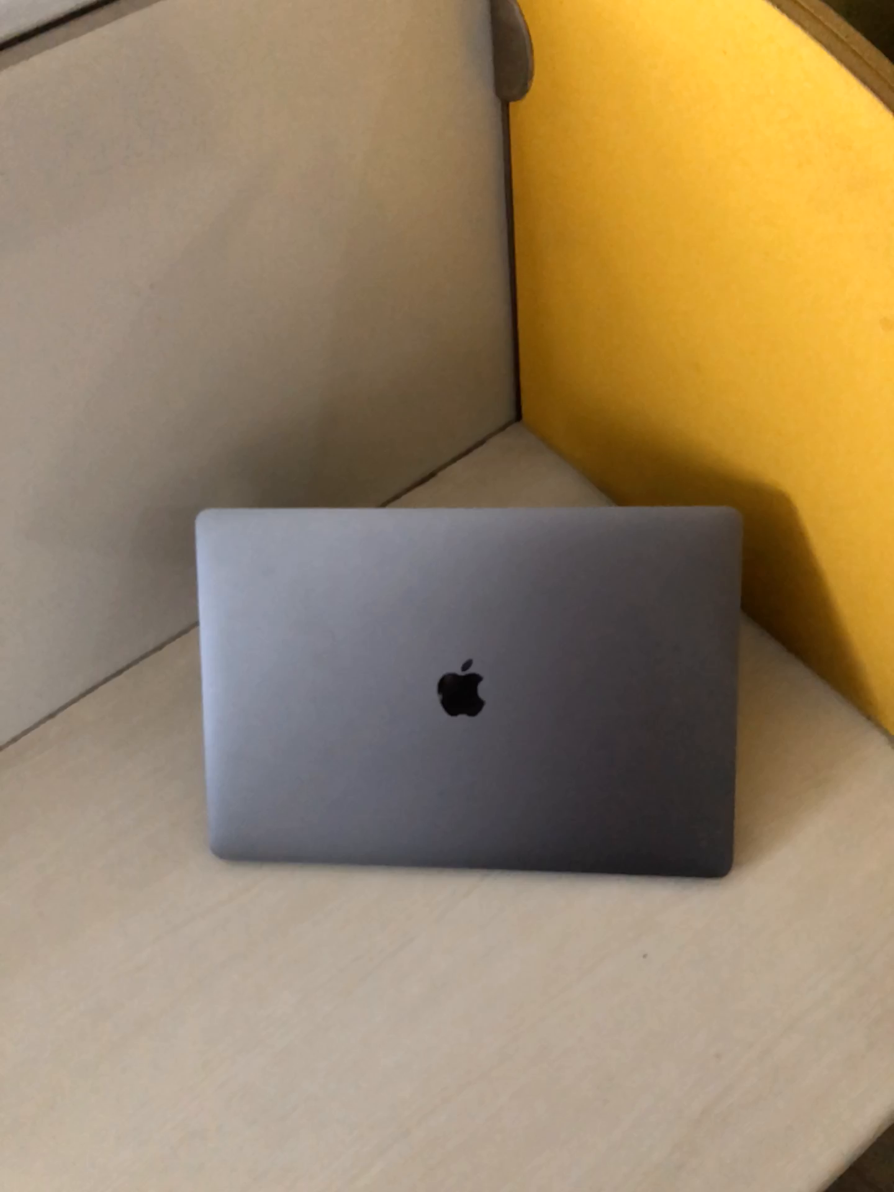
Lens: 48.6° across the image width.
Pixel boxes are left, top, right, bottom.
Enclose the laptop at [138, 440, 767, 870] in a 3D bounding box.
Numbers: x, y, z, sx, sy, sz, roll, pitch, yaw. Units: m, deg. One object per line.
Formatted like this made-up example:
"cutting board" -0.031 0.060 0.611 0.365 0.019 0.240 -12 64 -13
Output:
"laptop" 0.012 0.038 0.667 0.344 0.152 0.236 0 58 6
